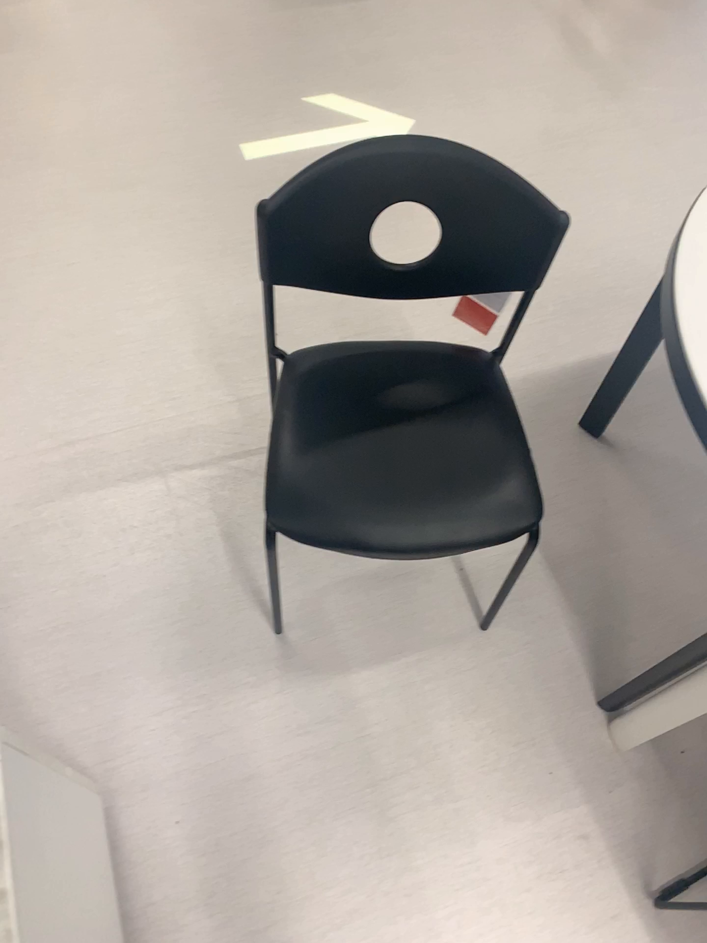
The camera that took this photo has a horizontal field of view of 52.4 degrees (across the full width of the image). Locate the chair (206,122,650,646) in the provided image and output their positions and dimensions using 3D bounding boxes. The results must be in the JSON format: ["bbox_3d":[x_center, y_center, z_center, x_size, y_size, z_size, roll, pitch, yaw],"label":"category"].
[{"bbox_3d":[0.052,-0.100,1.282,0.510,0.739,0.581,-1,59,-5],"label":"chair"}]
